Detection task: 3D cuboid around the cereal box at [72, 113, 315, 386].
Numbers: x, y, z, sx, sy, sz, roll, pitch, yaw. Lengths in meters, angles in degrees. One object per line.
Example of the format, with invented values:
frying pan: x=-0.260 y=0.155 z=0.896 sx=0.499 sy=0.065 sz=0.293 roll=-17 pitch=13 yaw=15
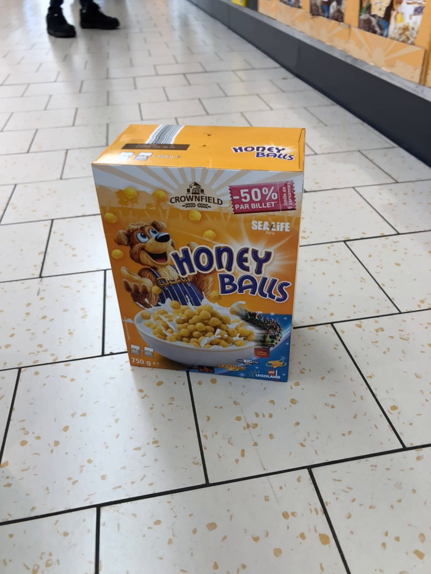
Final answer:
cereal box: x=-0.008 y=-0.041 z=0.531 sx=0.210 sy=0.258 sz=0.131 roll=5 pitch=35 yaw=10
